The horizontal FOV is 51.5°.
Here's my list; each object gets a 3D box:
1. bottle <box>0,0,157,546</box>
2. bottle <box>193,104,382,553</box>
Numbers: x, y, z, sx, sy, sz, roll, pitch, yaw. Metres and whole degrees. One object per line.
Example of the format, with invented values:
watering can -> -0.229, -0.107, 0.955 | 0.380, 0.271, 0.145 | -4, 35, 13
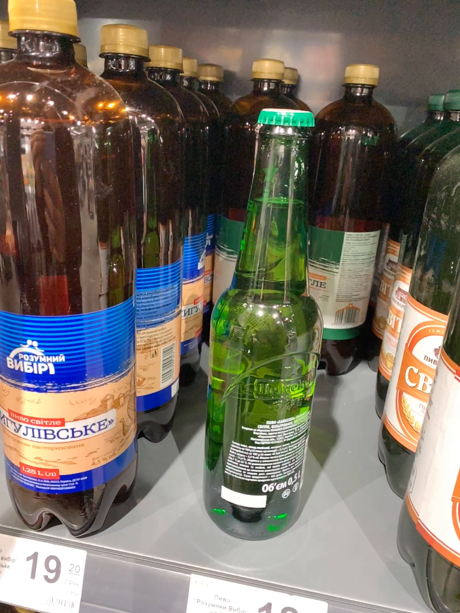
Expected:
bottle -> -0.088, -0.012, 0.261 | 0.080, 0.288, 0.074 | 3, 22, -1
bottle -> 0.021, 0.018, 0.279 | 0.066, 0.248, 0.062 | 3, 22, -1
